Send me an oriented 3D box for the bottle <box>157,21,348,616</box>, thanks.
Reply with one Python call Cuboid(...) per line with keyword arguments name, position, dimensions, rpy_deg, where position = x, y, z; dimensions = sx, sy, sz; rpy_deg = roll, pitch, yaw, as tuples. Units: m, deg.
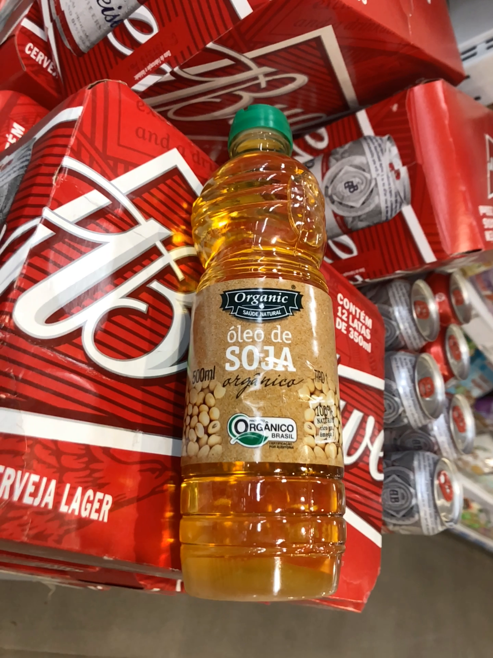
Cuboid(name="bottle", position=(0.005, -0.015, 0.240), dimensions=(0.060, 0.060, 0.240), rpy_deg=(77, 13, -71))
